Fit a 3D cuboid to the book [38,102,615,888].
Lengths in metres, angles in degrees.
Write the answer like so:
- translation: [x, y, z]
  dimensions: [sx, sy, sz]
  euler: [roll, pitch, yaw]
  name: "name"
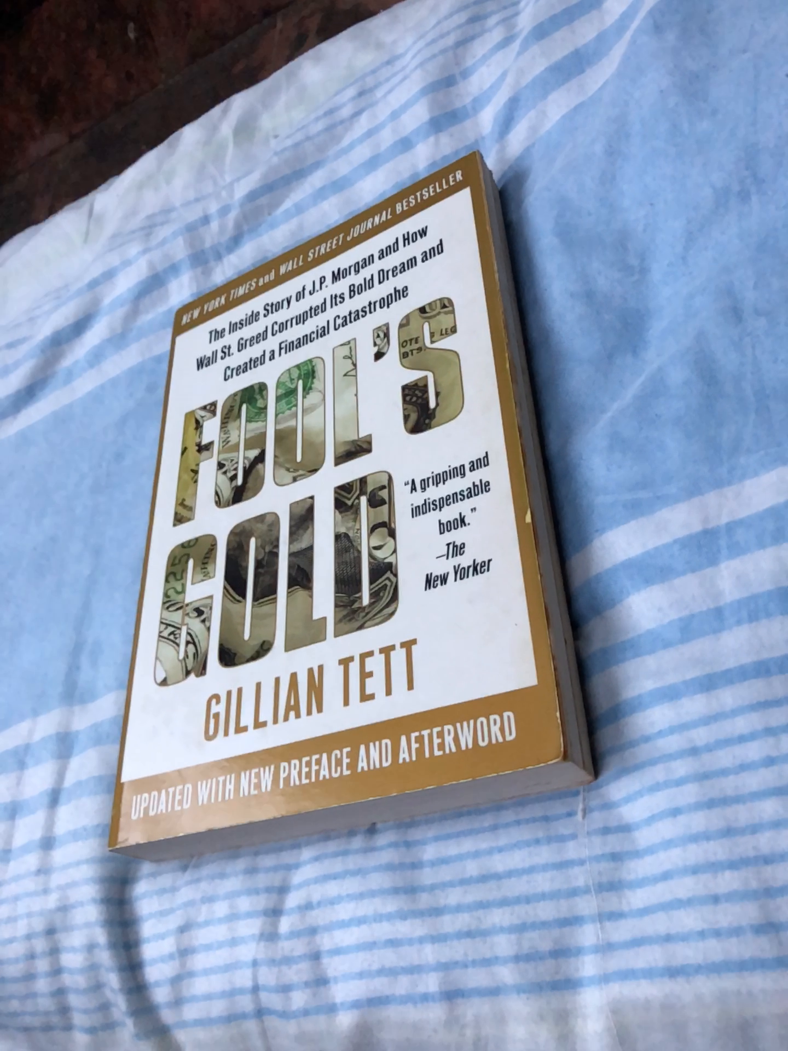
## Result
- translation: [-0.027, -0.018, 0.287]
  dimensions: [0.150, 0.040, 0.230]
  euler: [-20, 53, 25]
  name: "book"
